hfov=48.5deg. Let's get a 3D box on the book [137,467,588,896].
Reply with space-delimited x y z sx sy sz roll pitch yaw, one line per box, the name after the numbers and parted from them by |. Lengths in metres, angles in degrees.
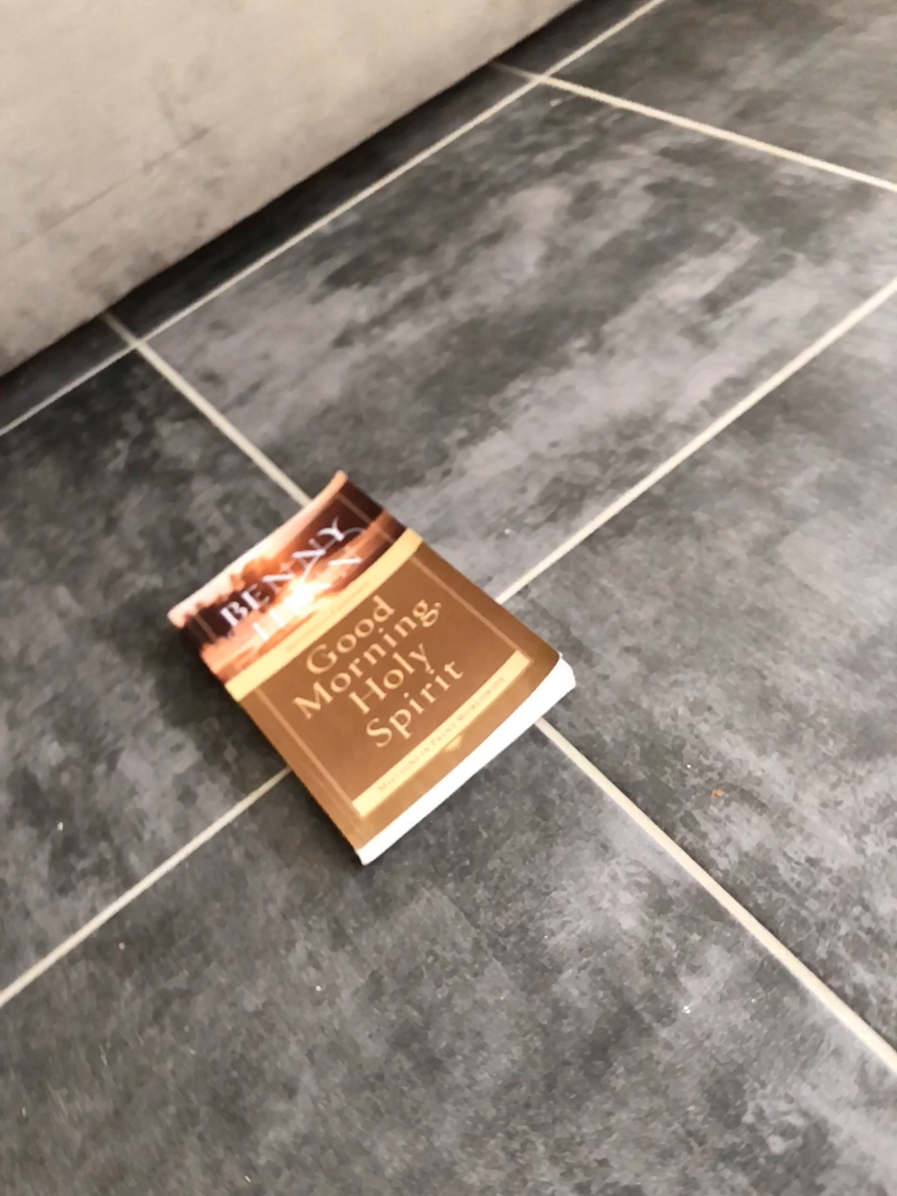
-0.058 0.029 0.547 0.150 0.020 0.231 -39 51 -13 | book
